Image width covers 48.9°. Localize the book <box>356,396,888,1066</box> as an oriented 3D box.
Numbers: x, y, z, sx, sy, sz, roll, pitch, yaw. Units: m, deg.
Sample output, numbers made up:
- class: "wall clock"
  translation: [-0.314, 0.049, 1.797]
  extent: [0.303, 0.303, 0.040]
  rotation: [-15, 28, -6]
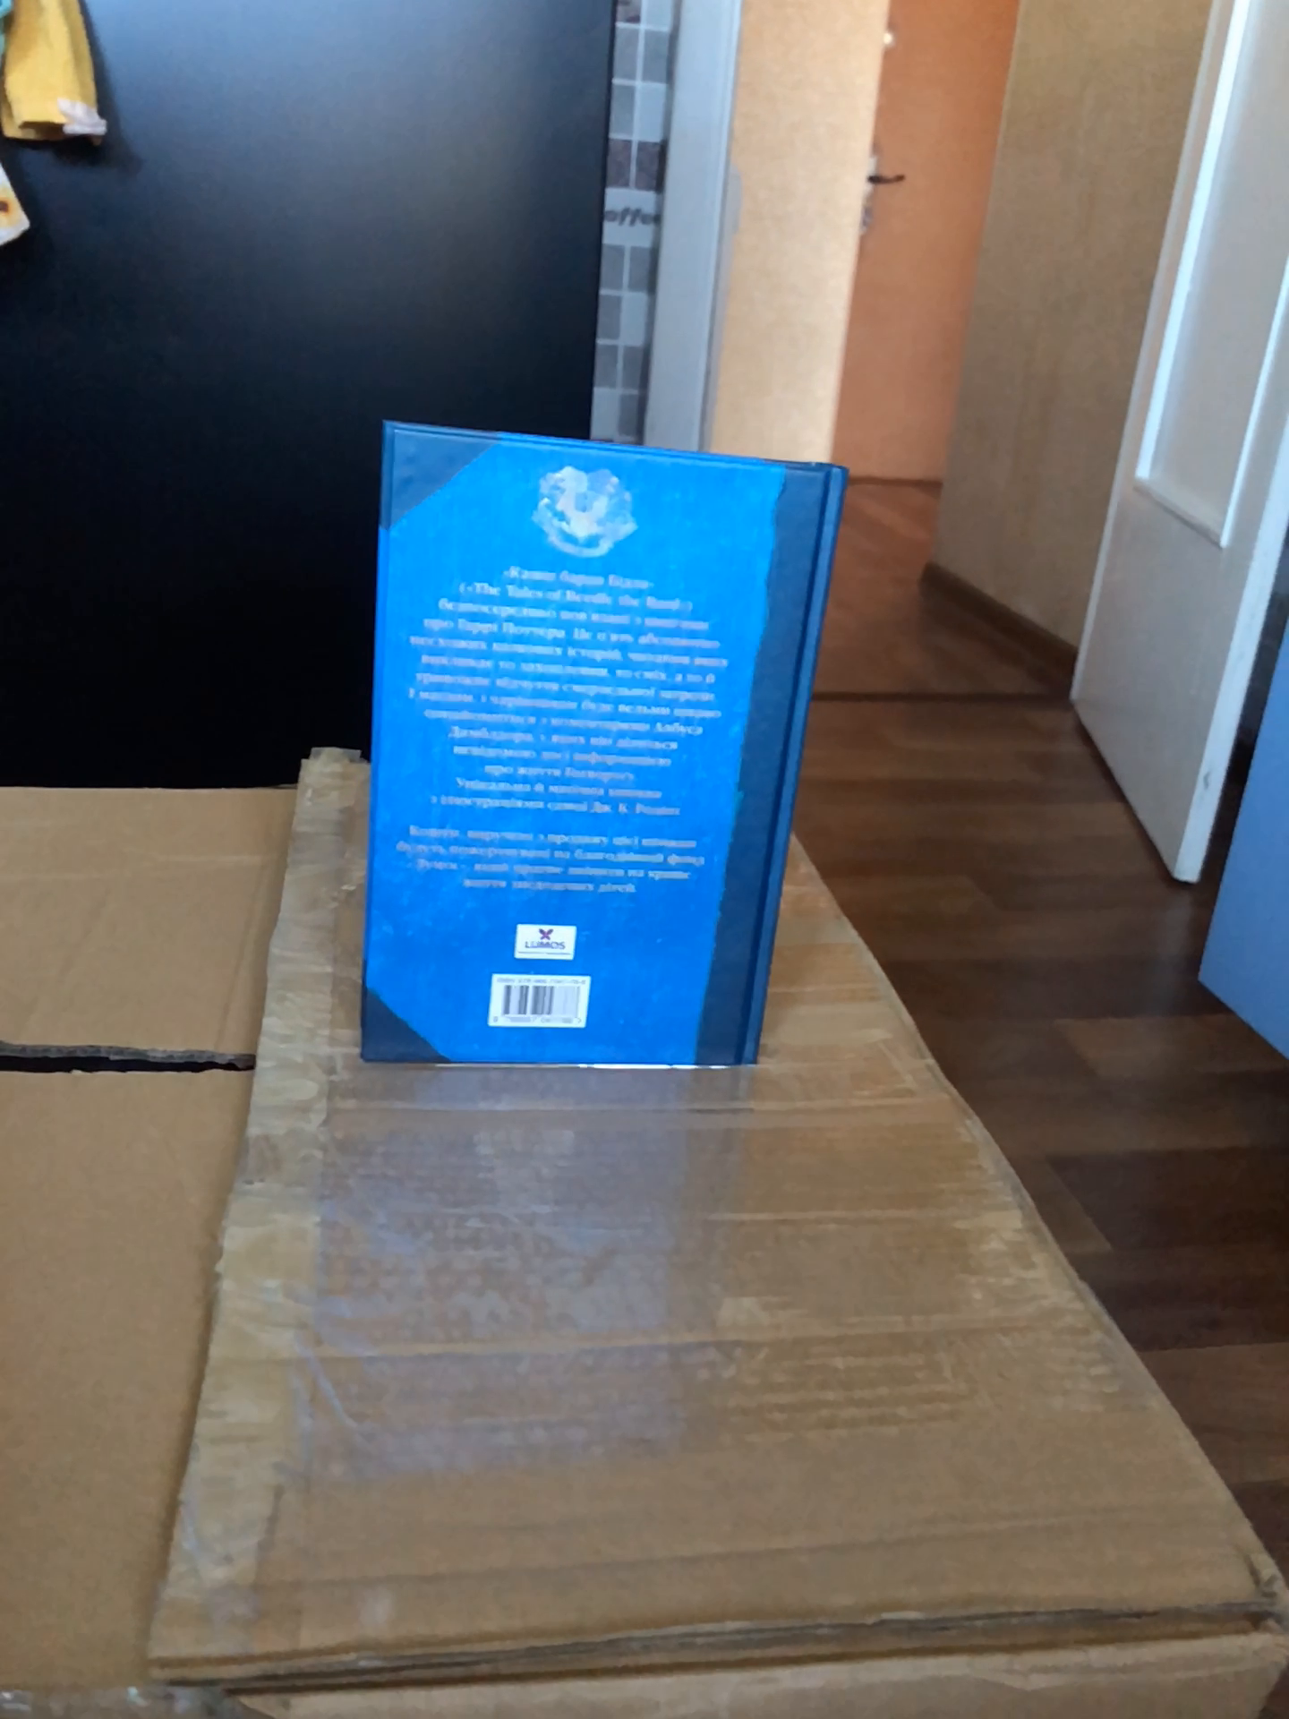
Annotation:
- class: "book"
  translation: [-0.014, -0.031, 0.434]
  extent: [0.144, 0.199, 0.030]
  rotation: [2, 23, -9]
